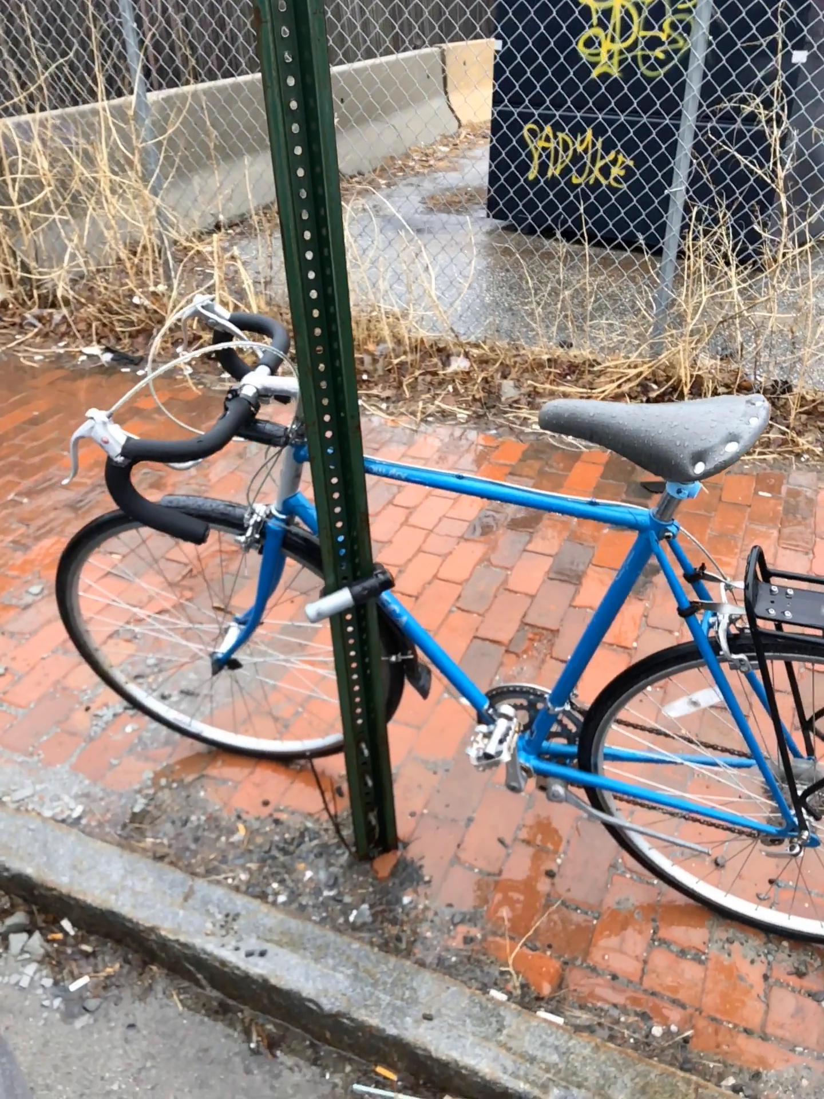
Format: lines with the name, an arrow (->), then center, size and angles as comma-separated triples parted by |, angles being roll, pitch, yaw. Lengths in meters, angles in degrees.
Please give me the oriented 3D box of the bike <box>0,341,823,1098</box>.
bike -> 0.094, 0.264, 1.604 | 1.865, 0.919, 0.475 | 11, 34, 18
